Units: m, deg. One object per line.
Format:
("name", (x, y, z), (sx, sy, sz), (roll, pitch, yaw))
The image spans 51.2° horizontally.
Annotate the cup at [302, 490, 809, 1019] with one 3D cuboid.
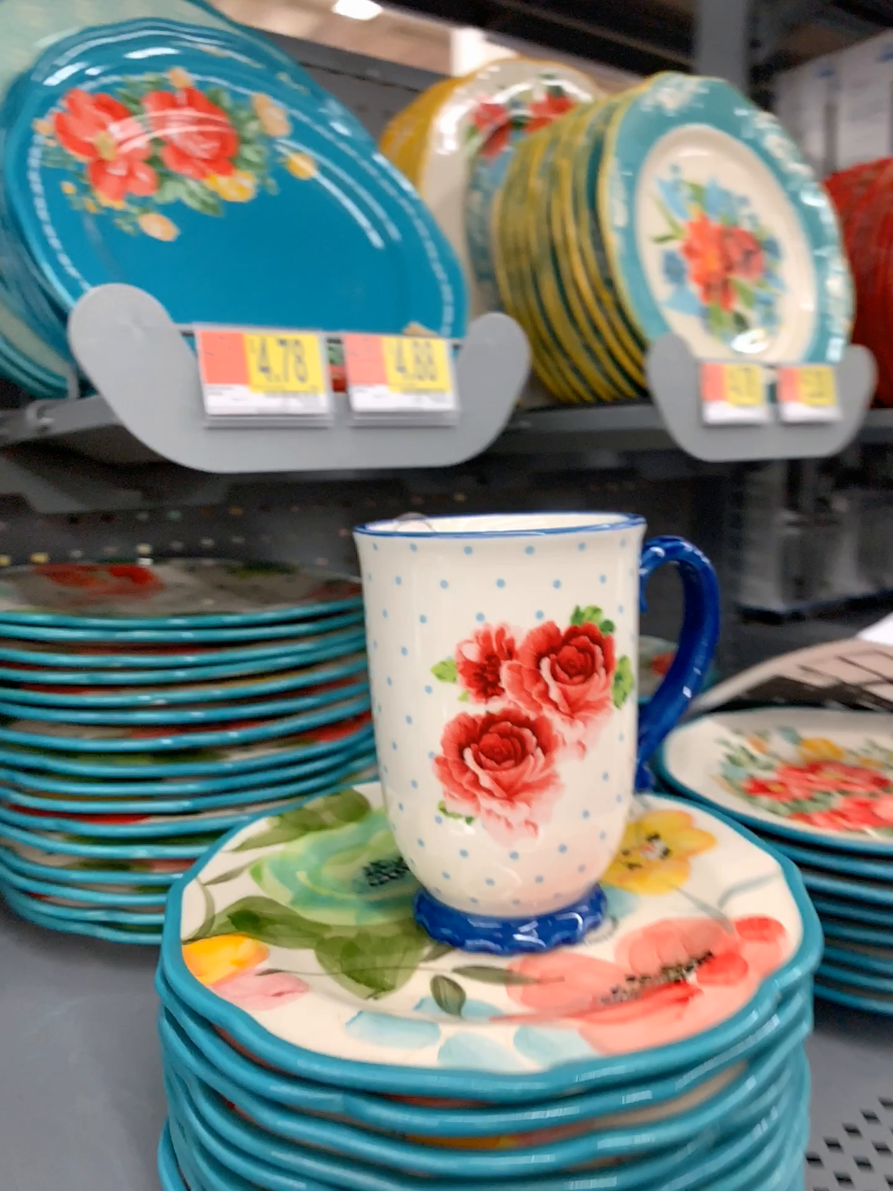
("cup", (0.031, 0.035, 0.302), (0.130, 0.130, 0.090), (-5, 10, -23))
